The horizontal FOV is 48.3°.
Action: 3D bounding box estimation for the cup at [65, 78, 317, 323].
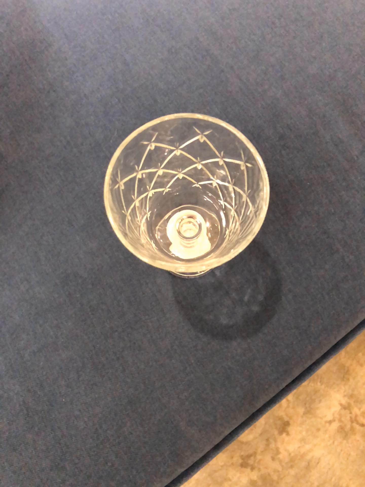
[{"bbox_3d":[0.005,-0.012,0.272,0.090,0.140,0.090,0,78,0],"label":"cup"}]
